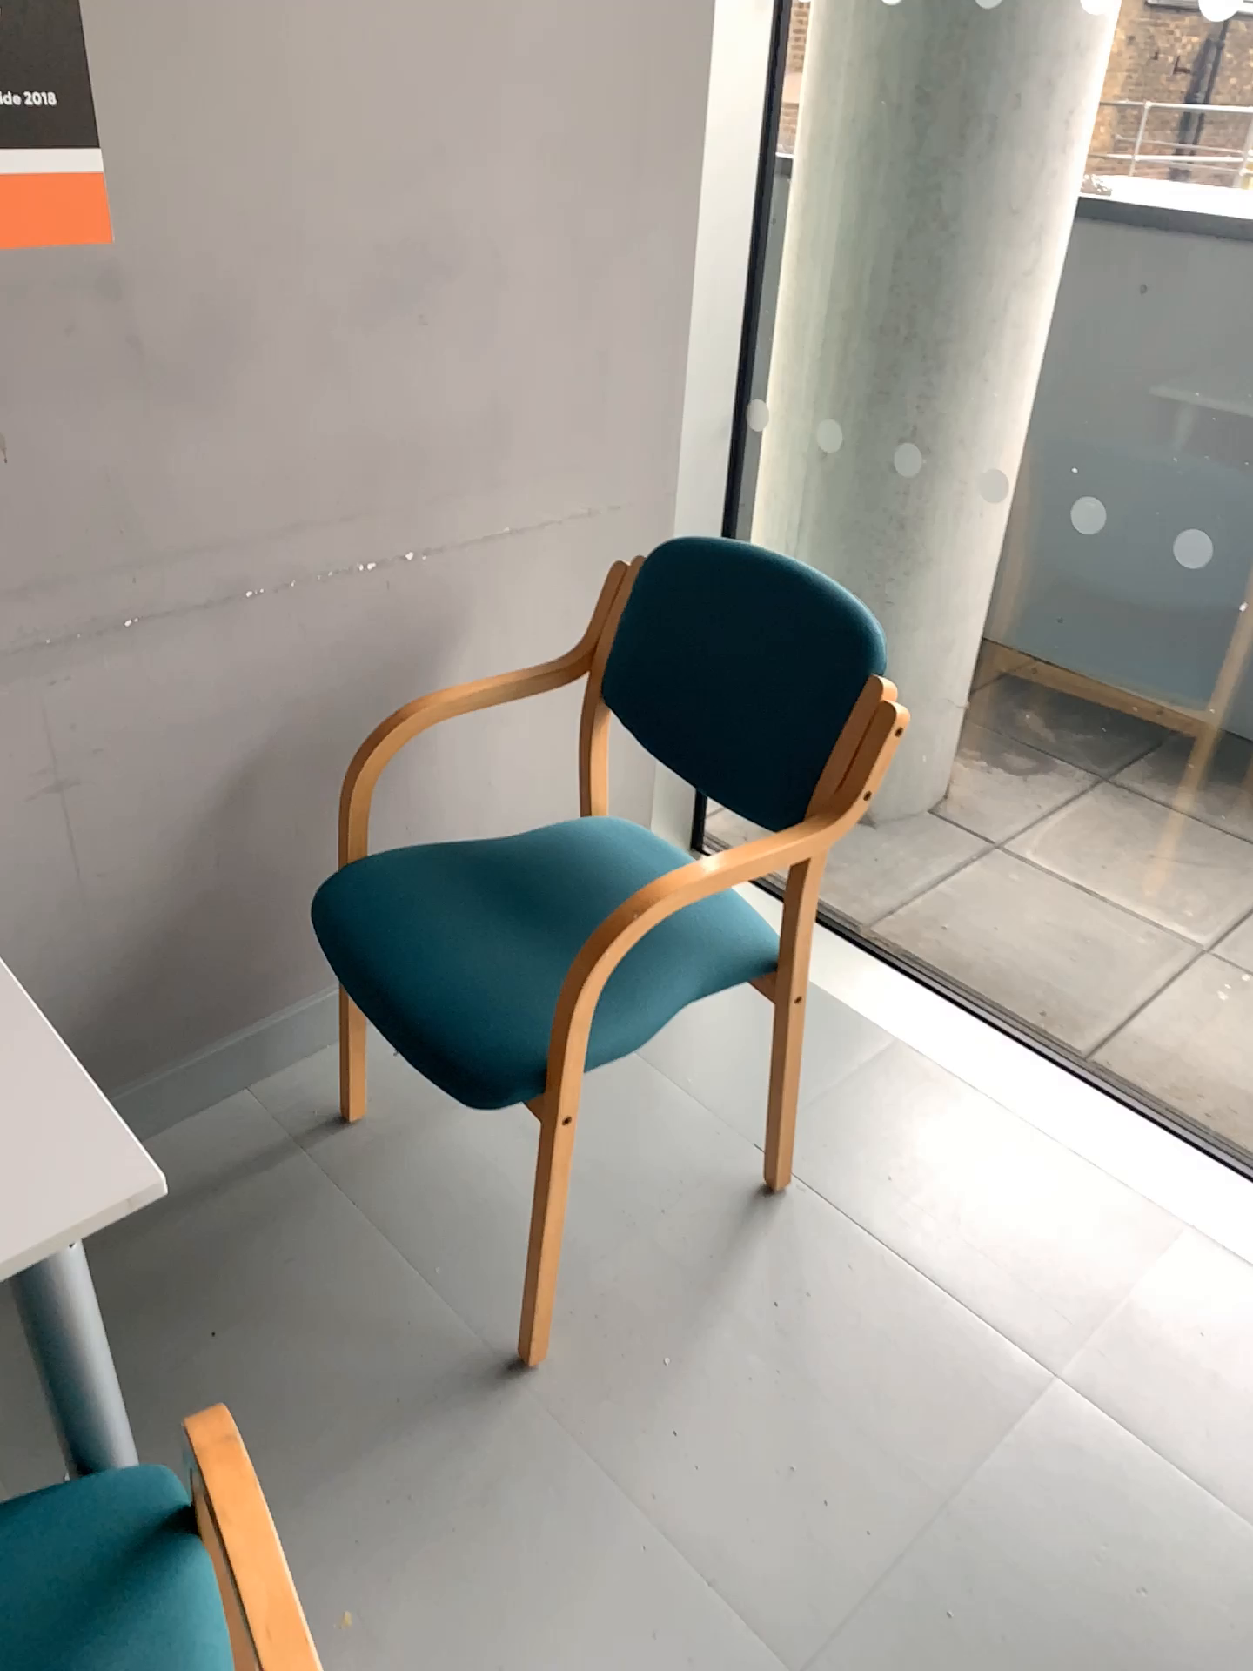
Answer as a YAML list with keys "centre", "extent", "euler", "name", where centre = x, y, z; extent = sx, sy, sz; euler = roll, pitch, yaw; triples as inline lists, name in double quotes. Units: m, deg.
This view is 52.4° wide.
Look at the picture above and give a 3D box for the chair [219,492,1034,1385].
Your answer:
- centre: [-0.033, 0.057, 1.632]
  extent: [0.642, 0.723, 0.684]
  euler: [-21, 40, -36]
  name: "chair"
